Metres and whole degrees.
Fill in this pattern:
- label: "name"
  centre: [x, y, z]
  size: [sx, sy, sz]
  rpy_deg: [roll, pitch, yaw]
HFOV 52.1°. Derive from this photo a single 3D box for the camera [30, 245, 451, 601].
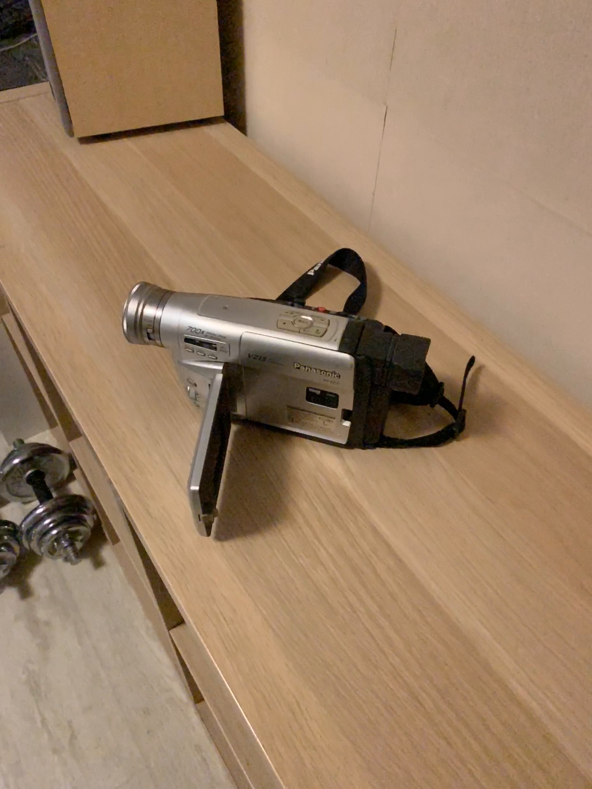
- label: "camera"
  centre: [-0.025, 0.009, 0.471]
  size: [0.246, 0.109, 0.204]
  rpy_deg: [13, 49, 9]
